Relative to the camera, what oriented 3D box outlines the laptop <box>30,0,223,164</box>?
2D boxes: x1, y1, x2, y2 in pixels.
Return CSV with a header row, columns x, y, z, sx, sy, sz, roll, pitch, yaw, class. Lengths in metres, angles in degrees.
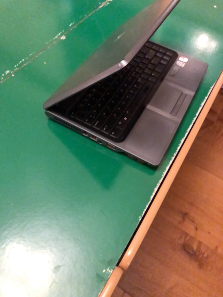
x,y,z,sx,sy,sz,roll,pitch,yaw,class
0.056,-0.182,0.463,0.227,0.171,0.317,26,58,11,laptop
